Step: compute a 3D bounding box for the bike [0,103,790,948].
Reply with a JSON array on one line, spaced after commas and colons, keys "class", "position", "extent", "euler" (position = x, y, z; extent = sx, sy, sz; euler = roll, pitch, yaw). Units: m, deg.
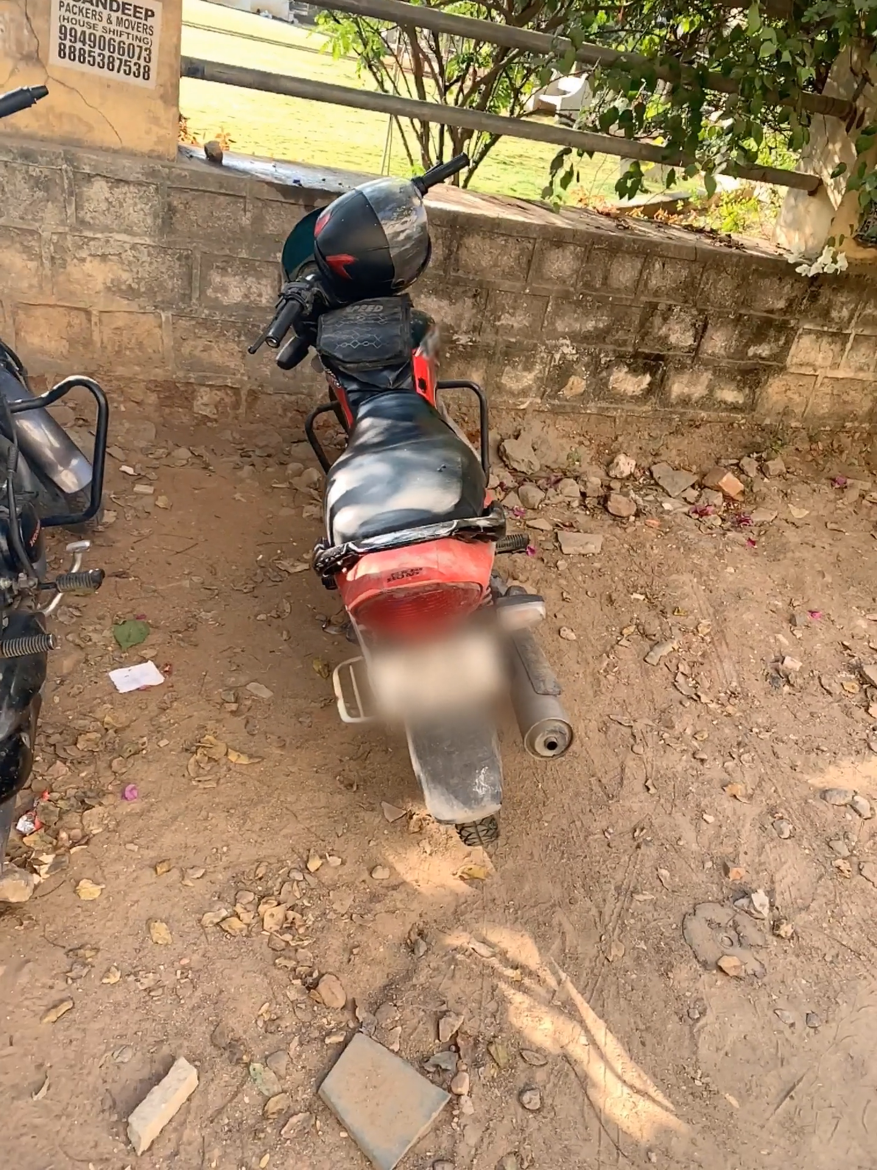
[{"class": "bike", "position": [-0.289, -0.270, 2.068], "extent": [1.064, 1.246, 1.602], "euler": [4, 31, -15]}]
